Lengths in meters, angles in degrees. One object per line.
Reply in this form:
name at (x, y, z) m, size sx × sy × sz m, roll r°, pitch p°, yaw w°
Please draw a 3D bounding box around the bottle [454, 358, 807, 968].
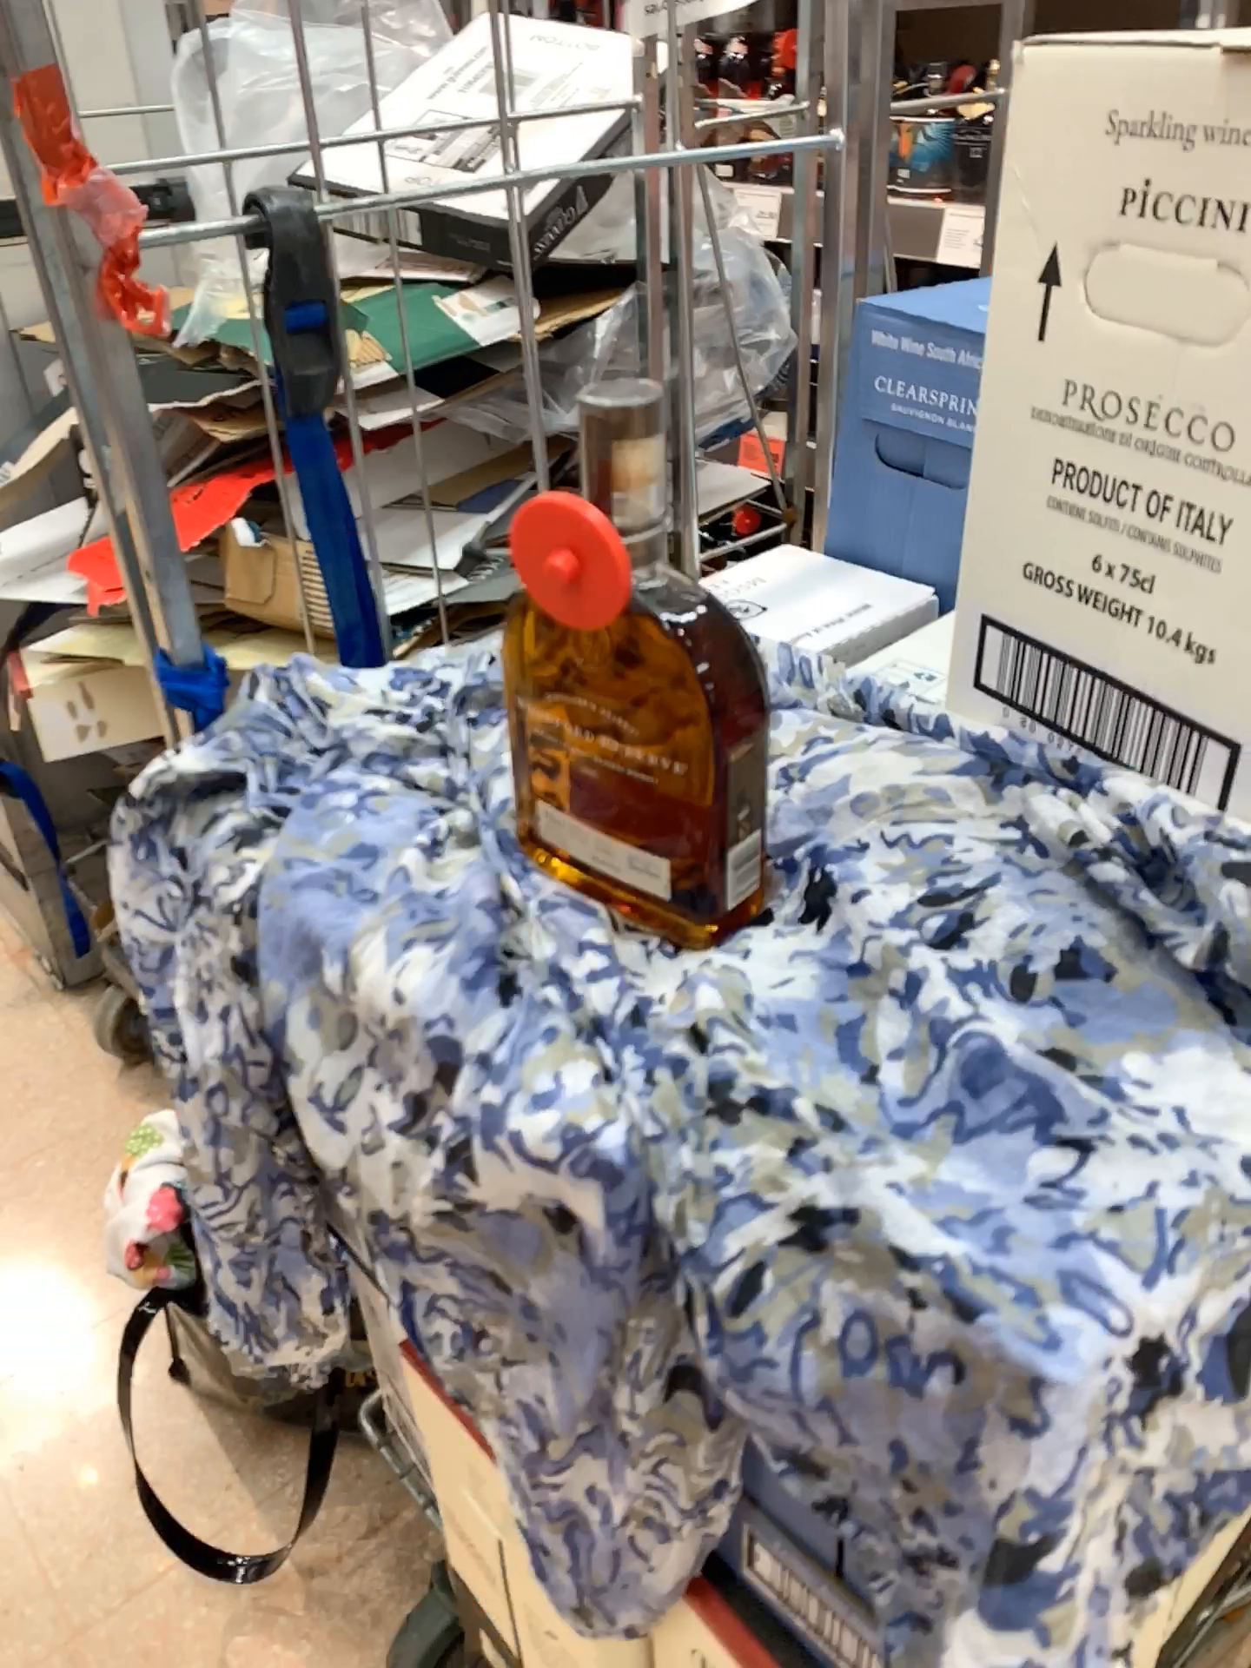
bottle at (-0.001, -0.072, 0.533) m, size 0.134 × 0.222 × 0.051 m, roll 25°, pitch 39°, yaw 36°
